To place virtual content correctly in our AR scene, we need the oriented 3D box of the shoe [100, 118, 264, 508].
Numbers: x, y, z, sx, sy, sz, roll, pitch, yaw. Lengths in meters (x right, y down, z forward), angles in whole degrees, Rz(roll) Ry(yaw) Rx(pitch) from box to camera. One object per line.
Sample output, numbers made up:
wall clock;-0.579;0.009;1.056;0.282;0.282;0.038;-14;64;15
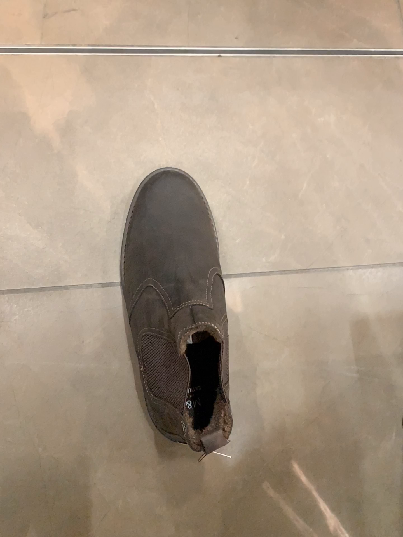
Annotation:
shoe;-0.029;0.034;0.411;0.114;0.166;0.304;-3;80;-7
